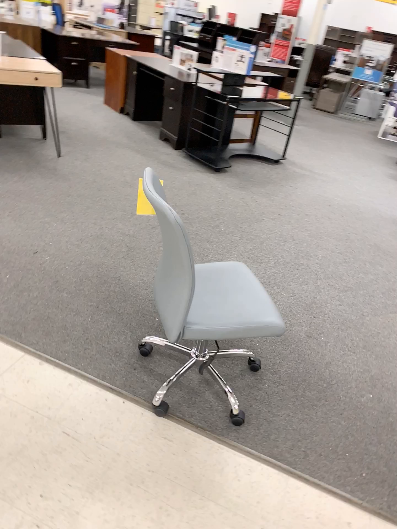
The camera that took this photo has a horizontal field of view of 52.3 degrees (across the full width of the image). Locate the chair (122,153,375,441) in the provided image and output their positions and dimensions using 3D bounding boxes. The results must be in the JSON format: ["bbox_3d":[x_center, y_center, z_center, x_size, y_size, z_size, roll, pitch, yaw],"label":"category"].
[{"bbox_3d":[0.075,0.120,1.585,0.650,0.875,0.603,1,33,-16],"label":"chair"}]
